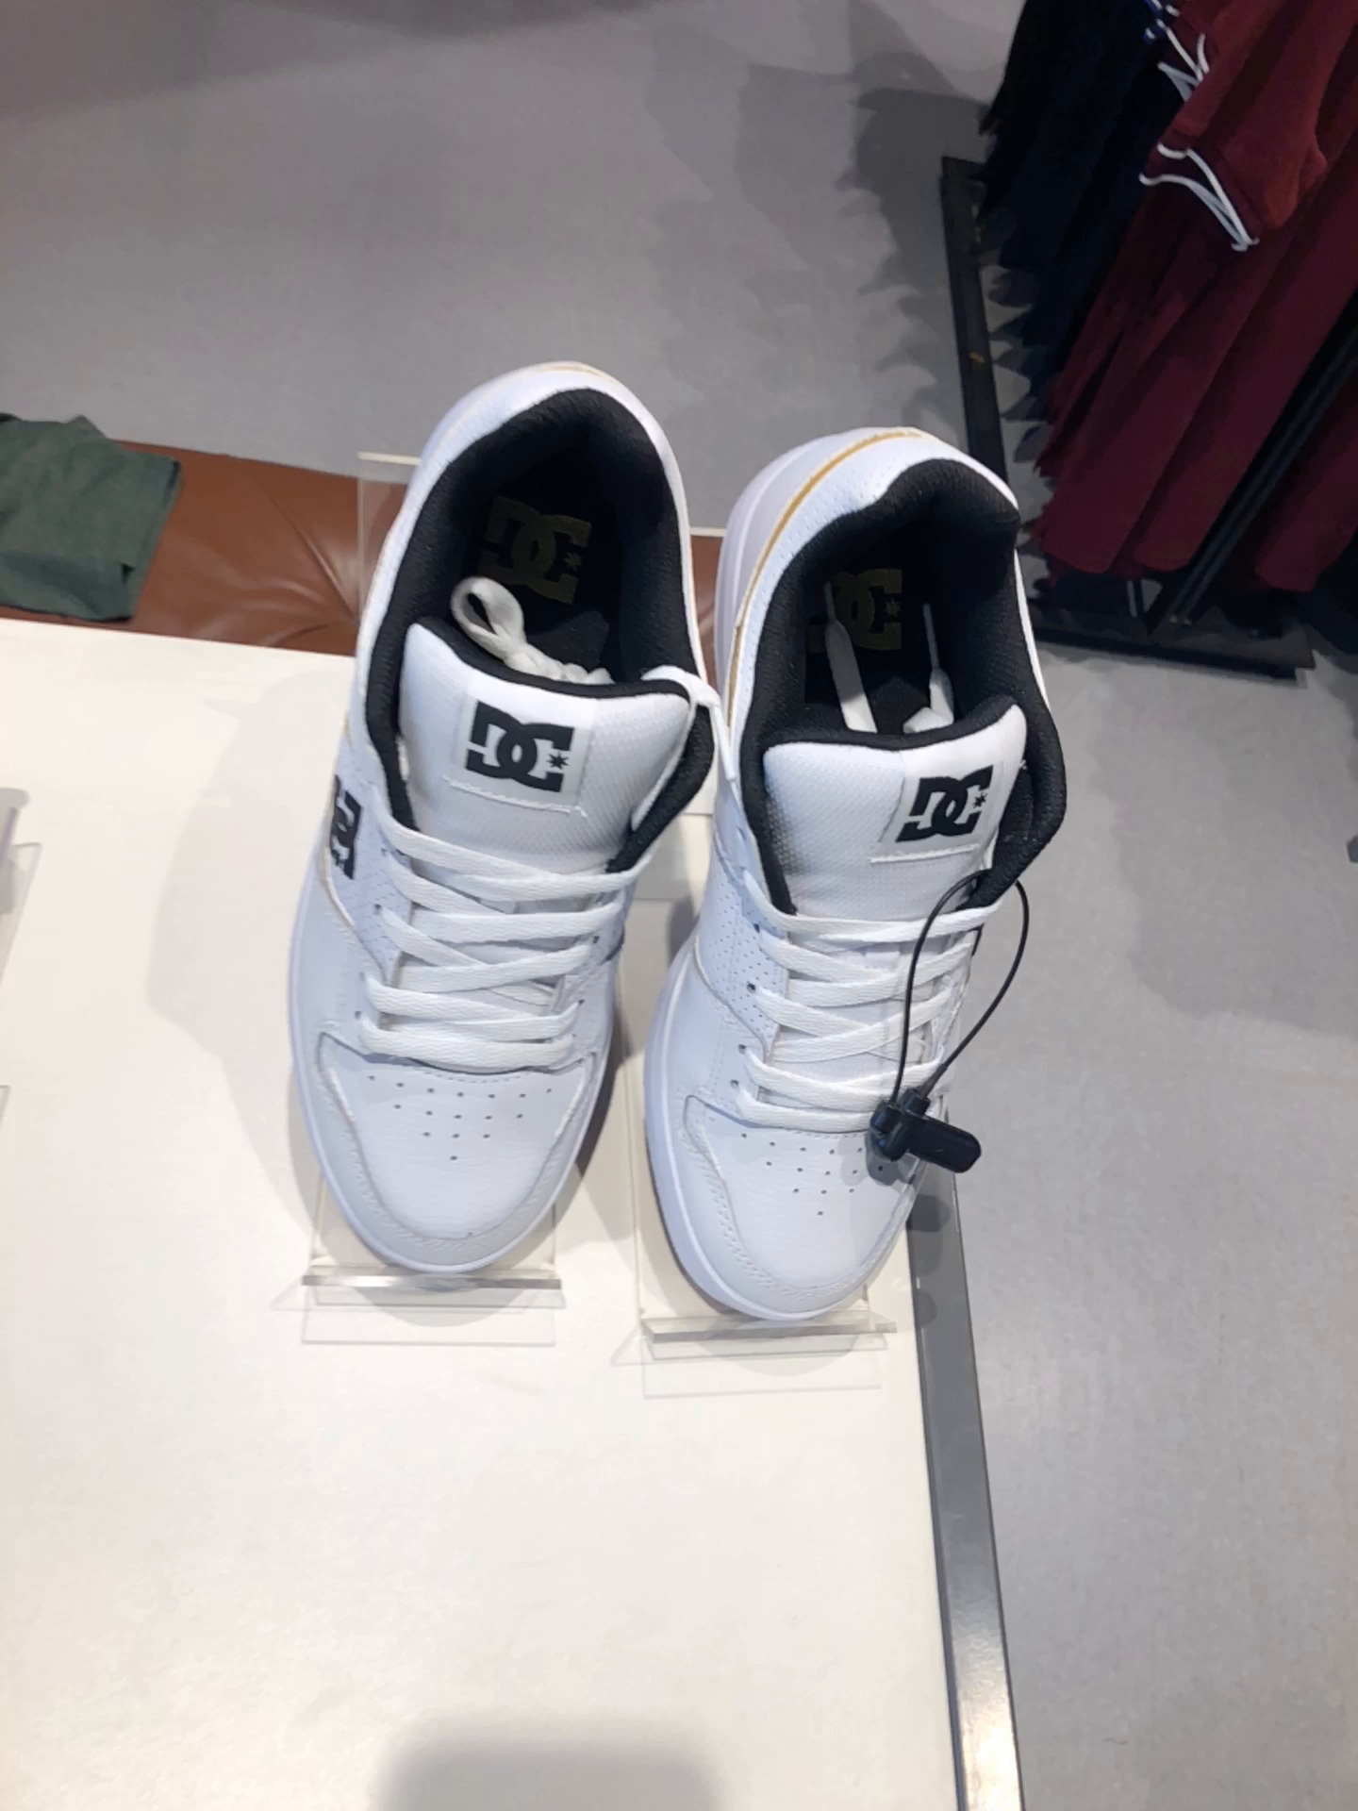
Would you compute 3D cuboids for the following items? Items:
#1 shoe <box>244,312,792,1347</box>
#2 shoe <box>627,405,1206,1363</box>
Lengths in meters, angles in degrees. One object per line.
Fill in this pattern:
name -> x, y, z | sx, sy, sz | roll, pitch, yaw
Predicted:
shoe -> -0.051, -0.020, 0.424 | 0.103, 0.259, 0.102 | 7, 18, -9
shoe -> 0.054, -0.006, 0.431 | 0.095, 0.249, 0.102 | 4, 18, -13
